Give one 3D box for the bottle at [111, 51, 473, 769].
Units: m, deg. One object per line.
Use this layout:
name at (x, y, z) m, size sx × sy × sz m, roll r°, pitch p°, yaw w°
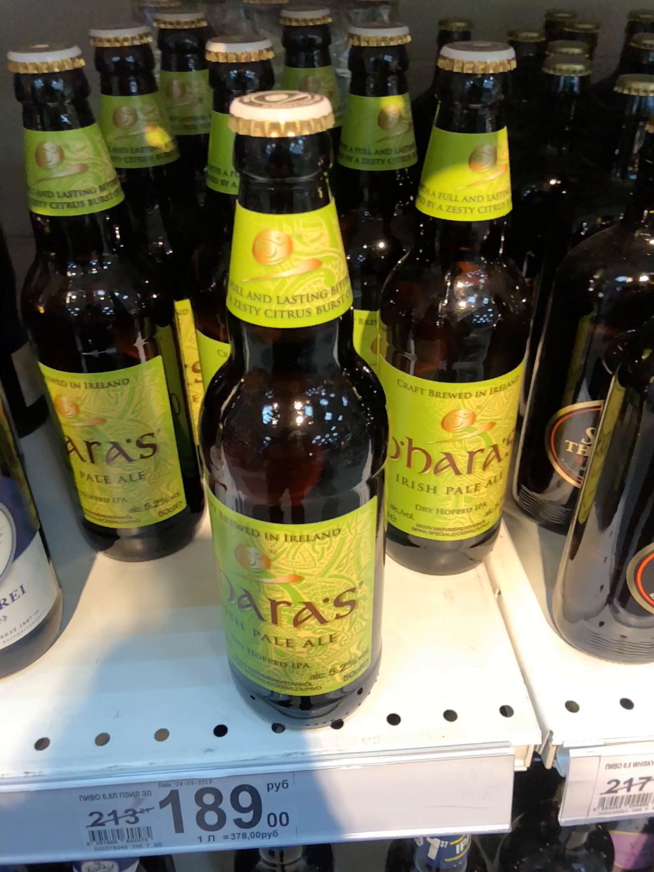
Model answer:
bottle at (-0.006, 0.007, 0.264) m, size 0.070 × 0.250 × 0.070 m, roll 0°, pitch 35°, yaw 0°
